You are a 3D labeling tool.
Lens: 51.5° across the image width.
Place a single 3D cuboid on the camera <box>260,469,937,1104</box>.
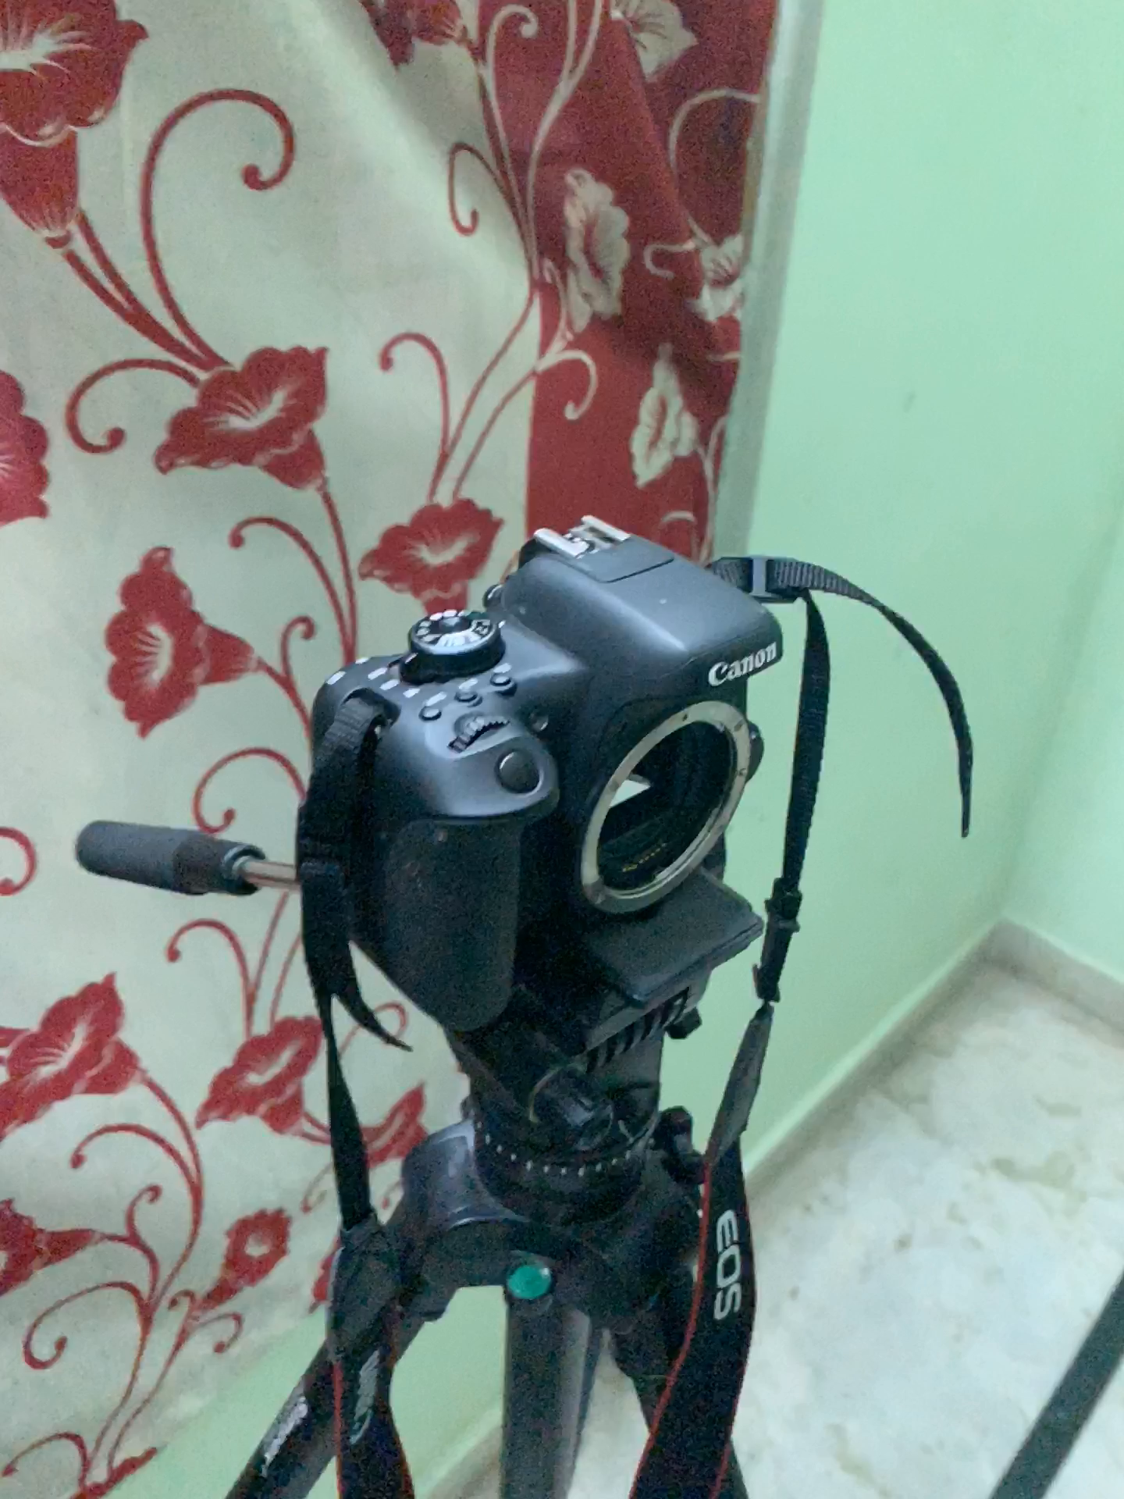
[{"bbox_3d":[0.012,-0.002,0.300,0.142,0.088,0.085,-27,43,-36],"label":"camera"}]
